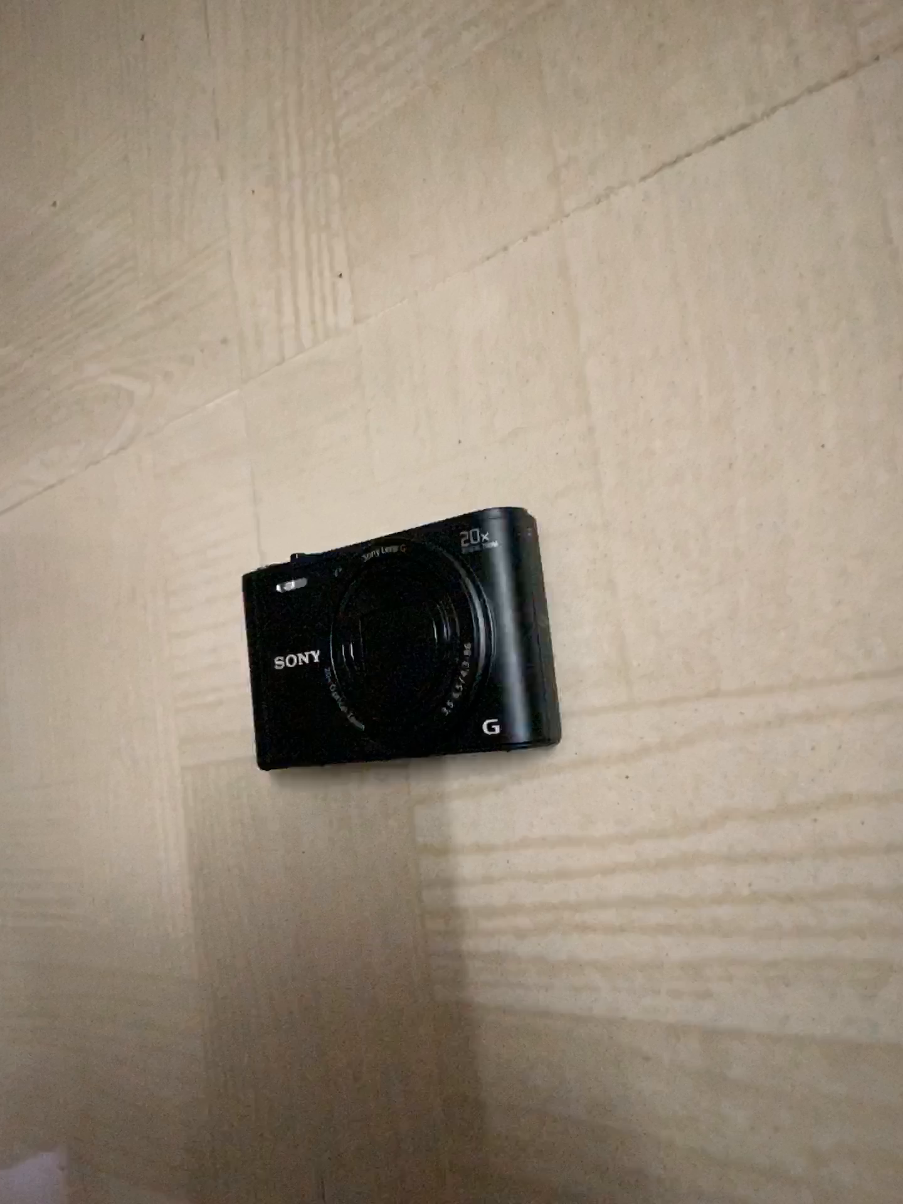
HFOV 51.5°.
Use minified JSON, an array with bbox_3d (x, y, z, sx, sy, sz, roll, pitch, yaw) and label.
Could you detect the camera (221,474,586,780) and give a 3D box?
[{"bbox_3d":[-0.016,0.010,0.233,0.093,0.025,0.060,-12,82,39],"label":"camera"}]
